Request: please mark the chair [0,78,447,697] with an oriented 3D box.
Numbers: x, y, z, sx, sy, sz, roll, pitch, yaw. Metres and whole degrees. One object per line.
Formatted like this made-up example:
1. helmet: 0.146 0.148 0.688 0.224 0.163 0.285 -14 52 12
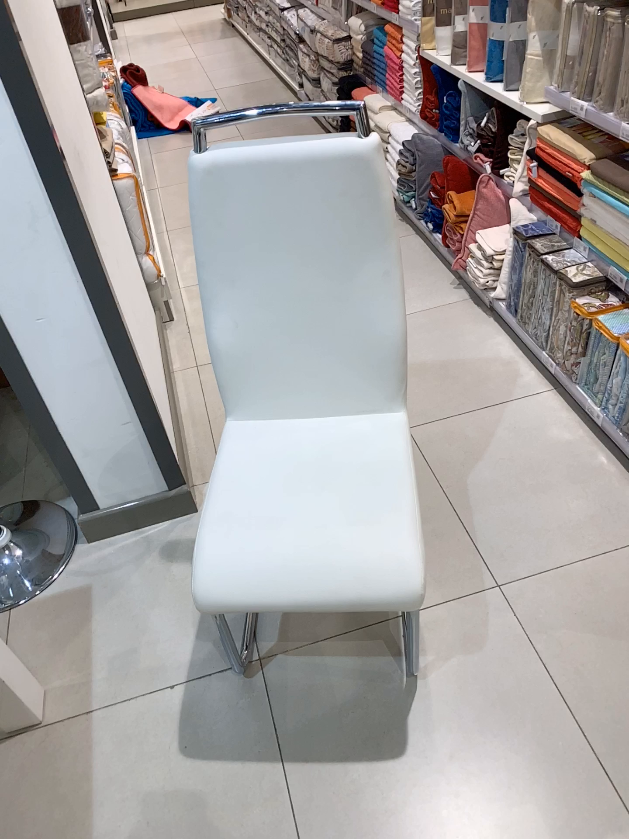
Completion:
1. chair: -0.036 0.023 1.192 0.480 1.026 0.522 -3 42 7
